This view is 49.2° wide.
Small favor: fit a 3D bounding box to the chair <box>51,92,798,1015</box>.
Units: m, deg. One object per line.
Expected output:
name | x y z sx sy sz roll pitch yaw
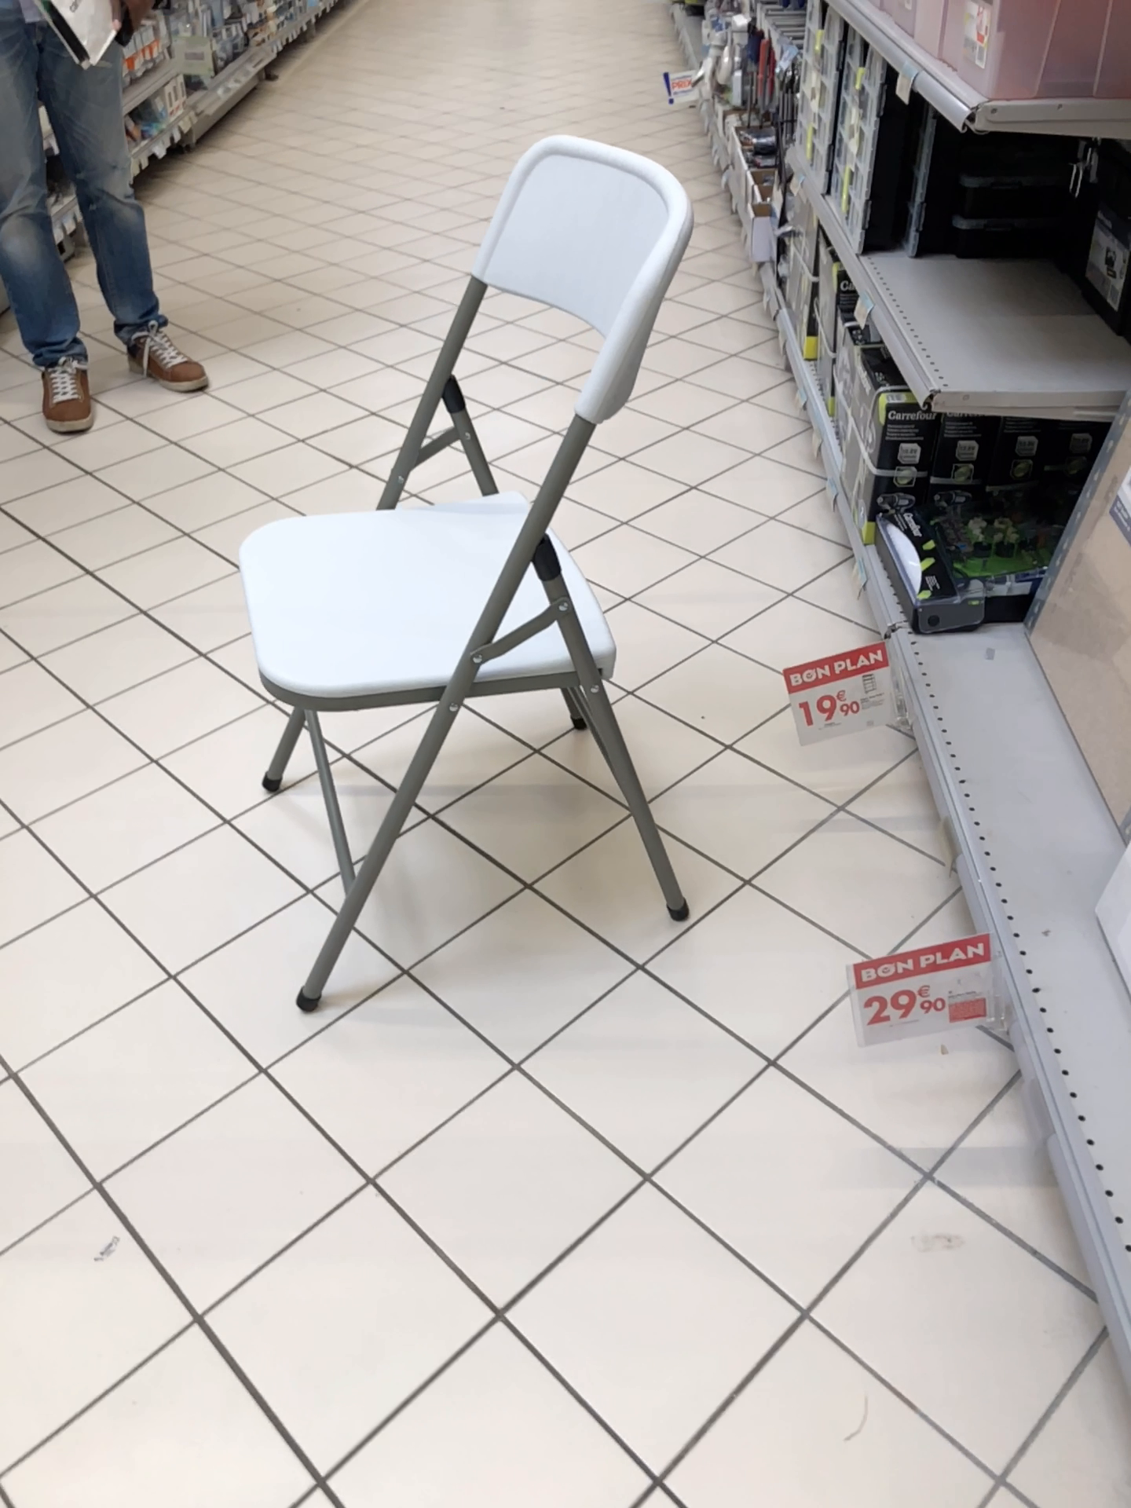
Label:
chair | -0.145 -0.232 1.346 0.561 0.746 0.543 -12 38 -11
